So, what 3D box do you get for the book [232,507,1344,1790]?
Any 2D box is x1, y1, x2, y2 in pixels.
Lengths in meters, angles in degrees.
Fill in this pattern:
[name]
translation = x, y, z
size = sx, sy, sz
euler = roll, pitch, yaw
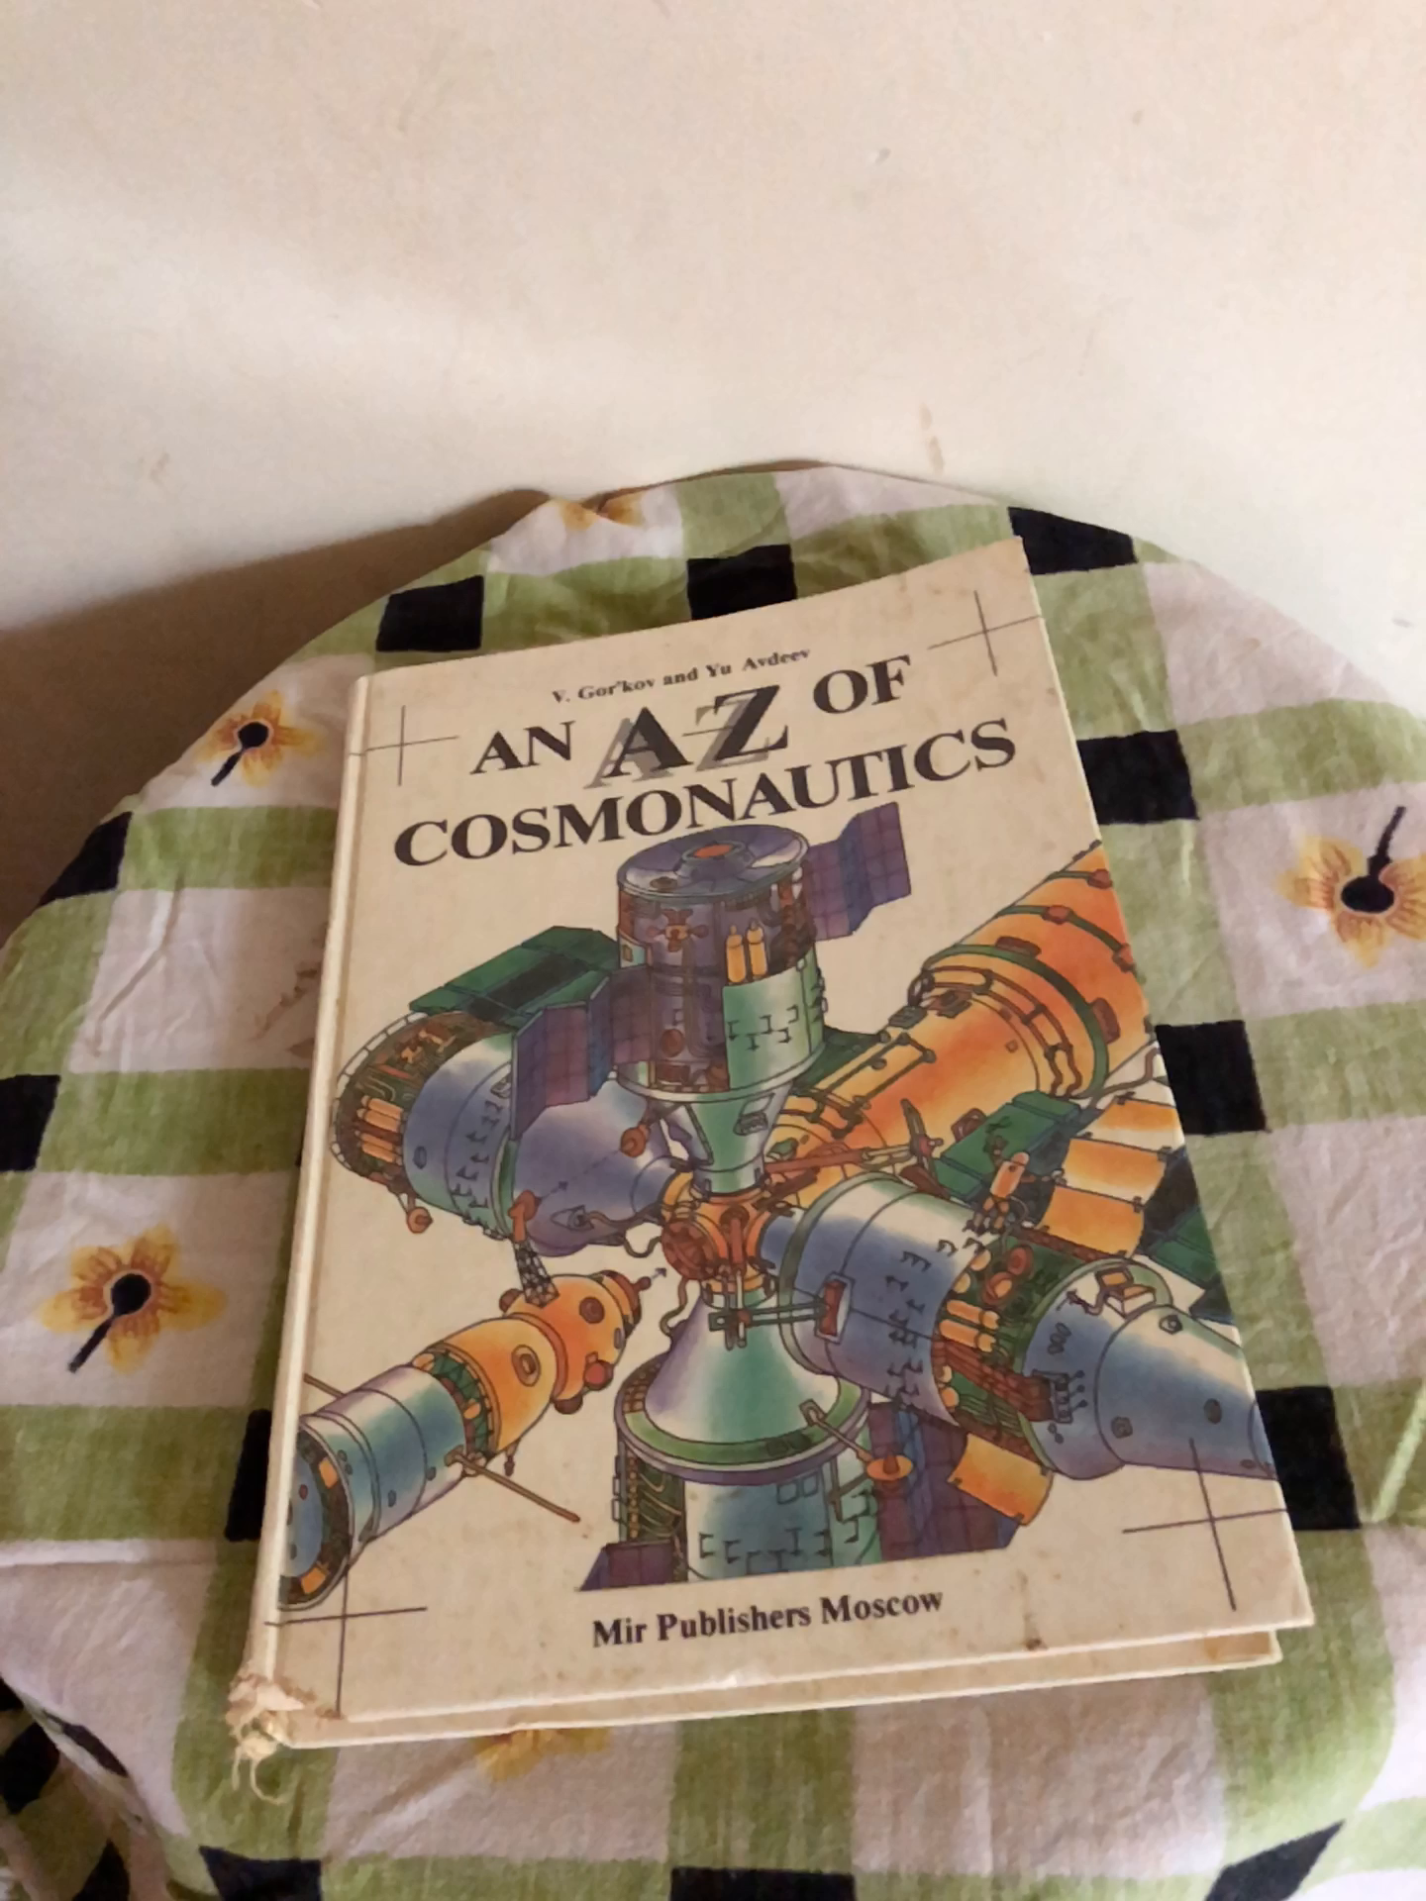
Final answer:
[book]
translation = 0.004, 0.025, 0.358
size = 0.180, 0.060, 0.271
euler = -7, 55, 4
